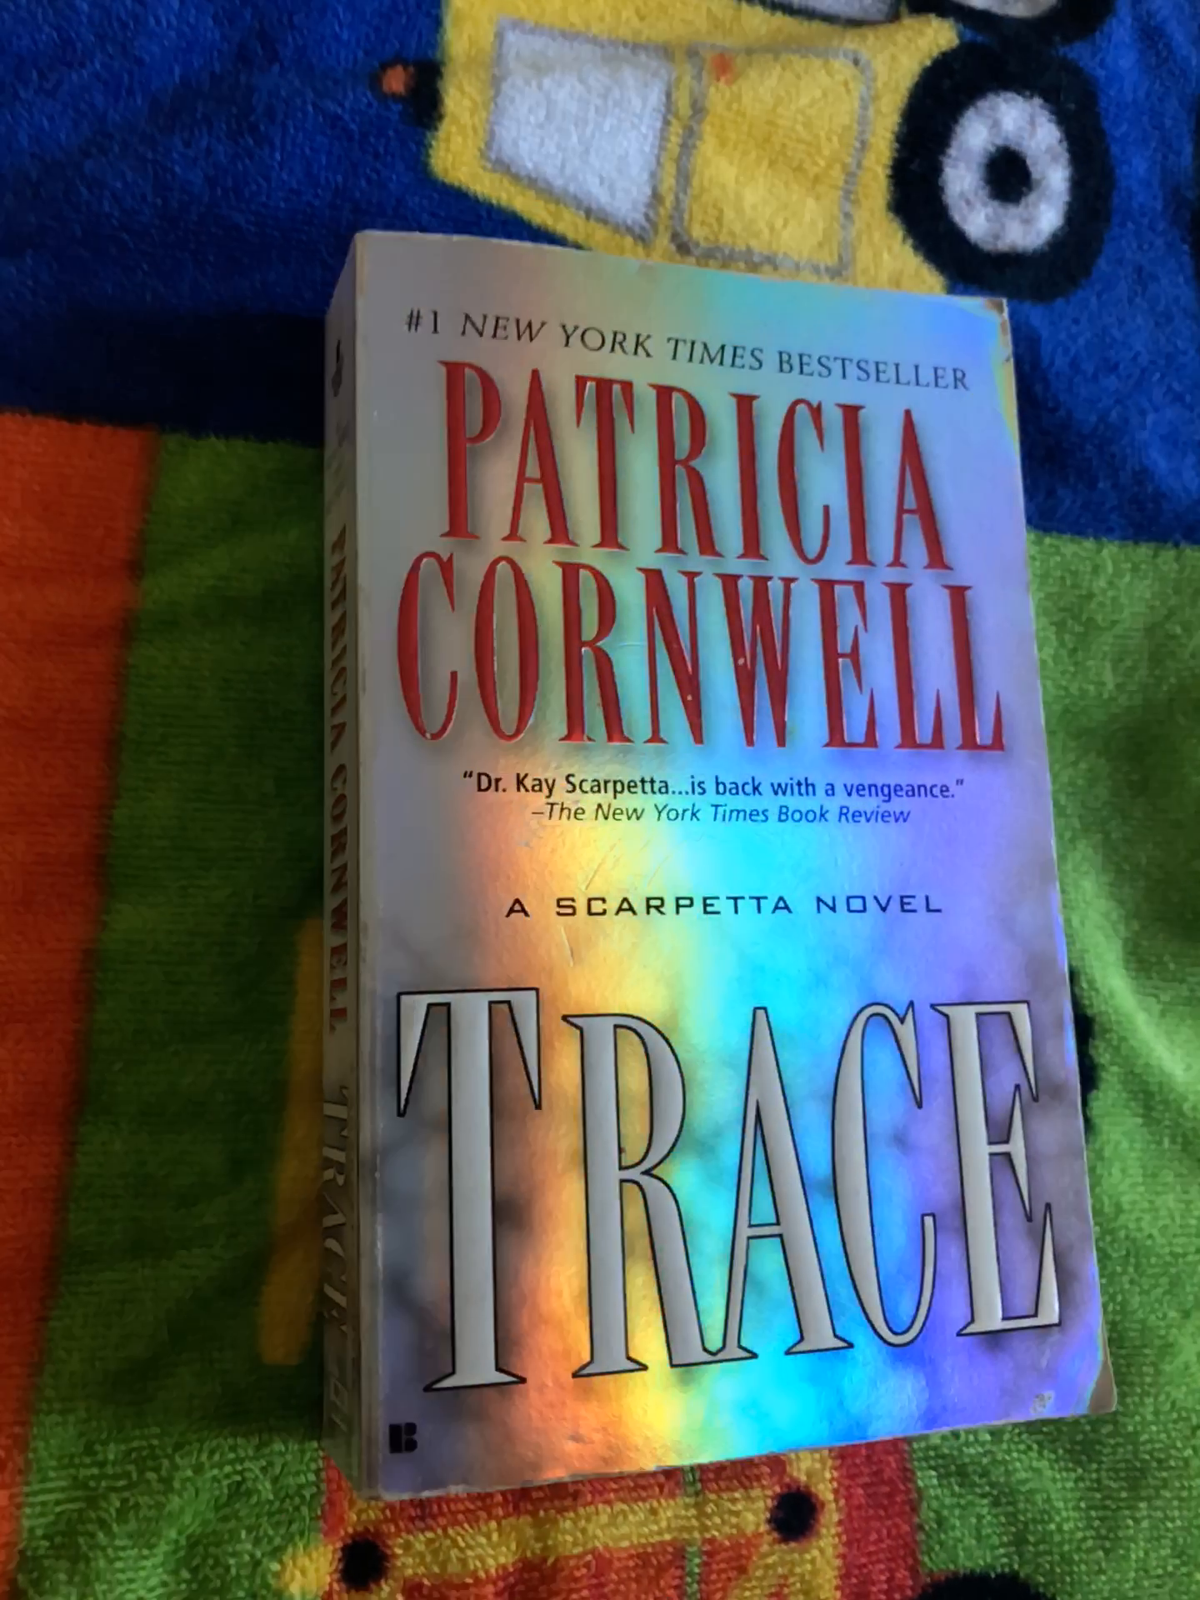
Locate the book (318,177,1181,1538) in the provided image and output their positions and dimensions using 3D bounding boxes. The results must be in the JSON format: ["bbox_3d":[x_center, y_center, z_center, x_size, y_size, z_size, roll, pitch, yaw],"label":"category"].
[{"bbox_3d":[0.018,0.004,0.214,0.120,0.040,0.180,1,79,-18],"label":"book"}]
